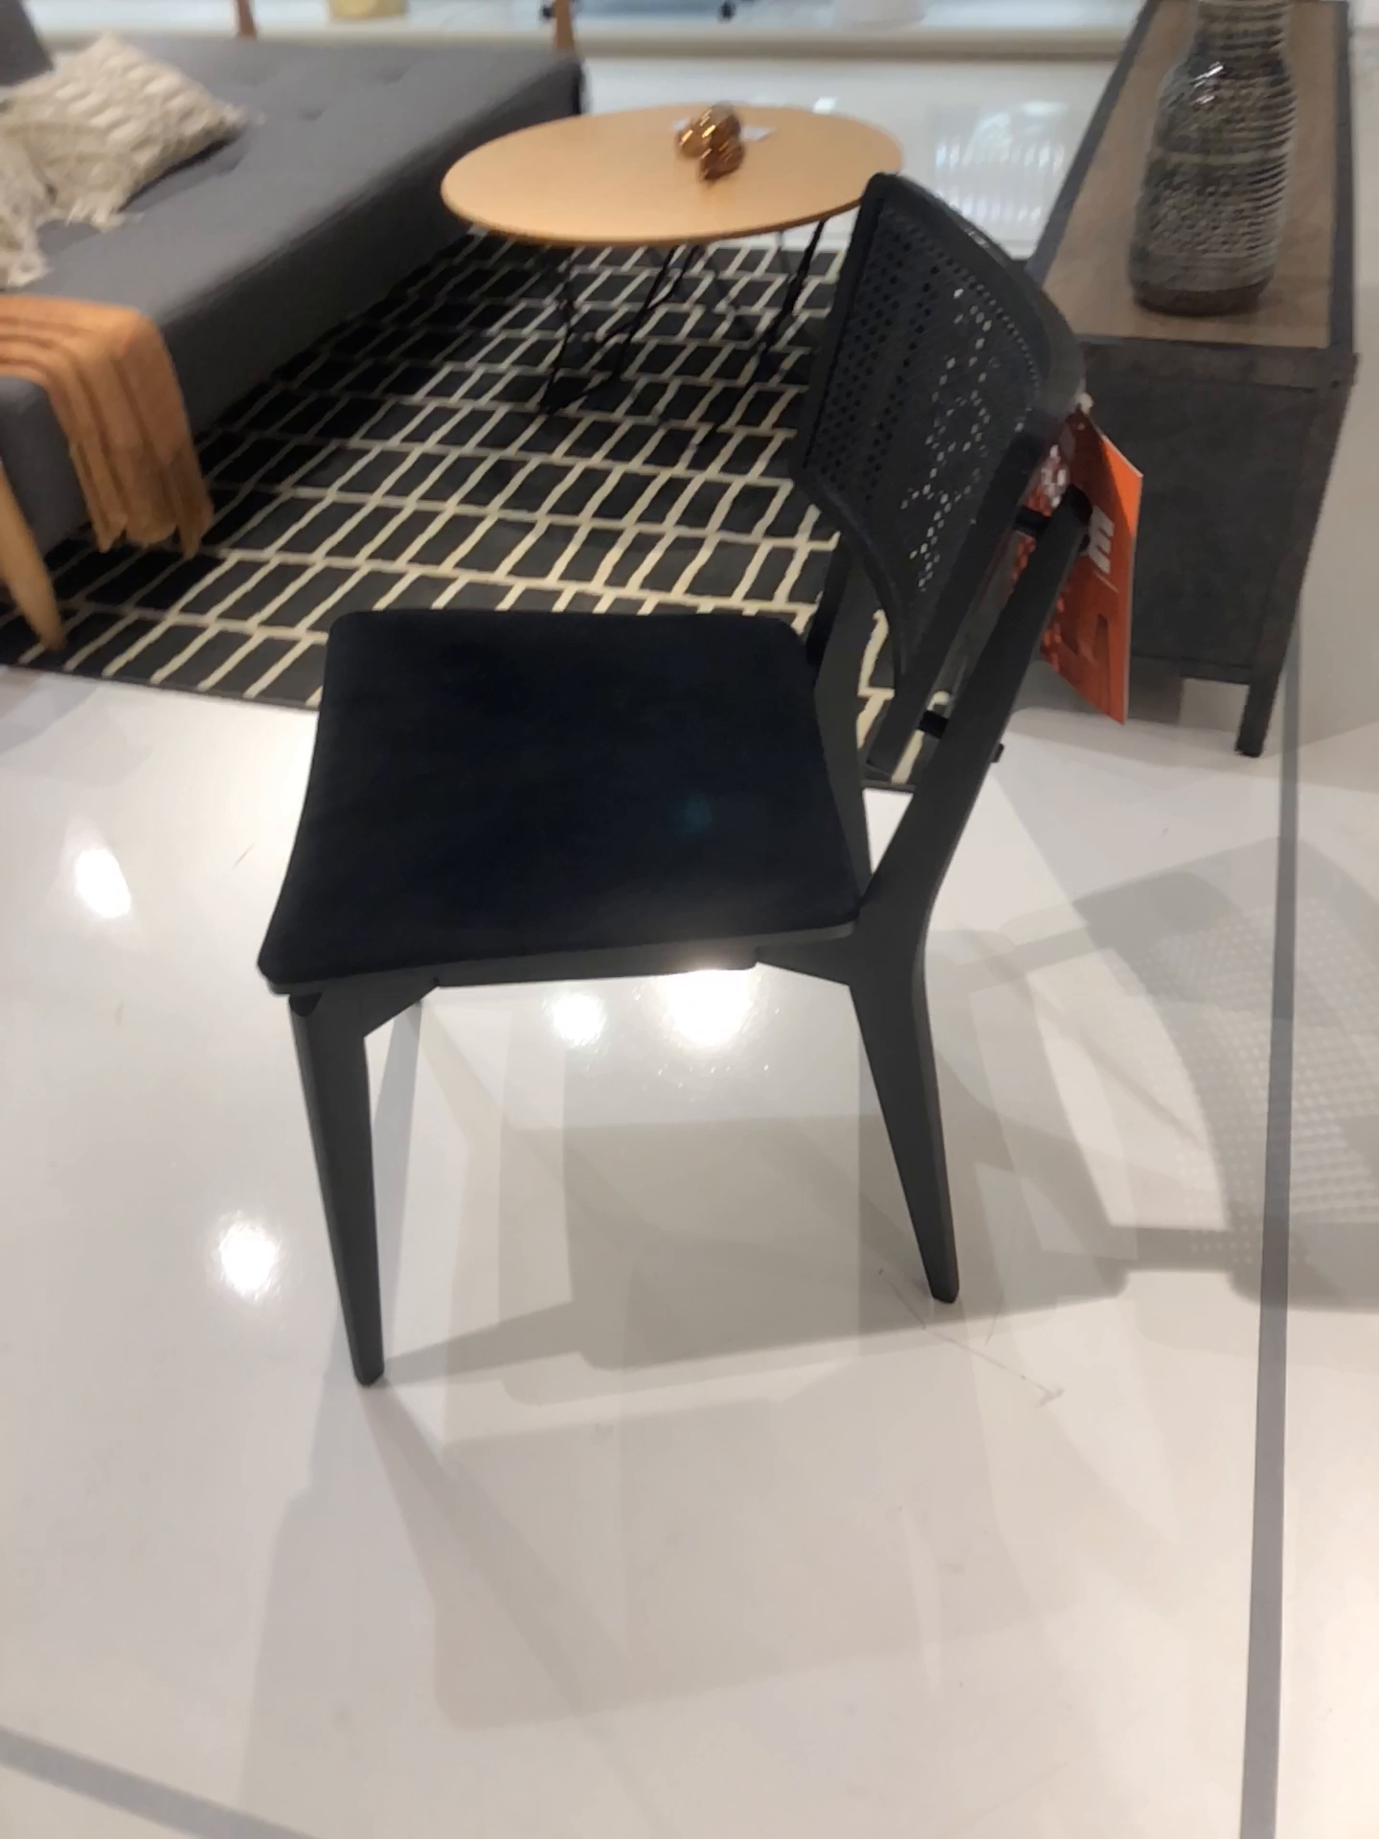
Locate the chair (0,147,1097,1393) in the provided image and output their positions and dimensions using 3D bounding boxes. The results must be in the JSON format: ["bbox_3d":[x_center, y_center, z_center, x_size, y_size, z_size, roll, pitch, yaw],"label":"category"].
[{"bbox_3d":[-0.074,-0.102,1.170,0.550,0.745,0.534,-5,41,-1],"label":"chair"}]
